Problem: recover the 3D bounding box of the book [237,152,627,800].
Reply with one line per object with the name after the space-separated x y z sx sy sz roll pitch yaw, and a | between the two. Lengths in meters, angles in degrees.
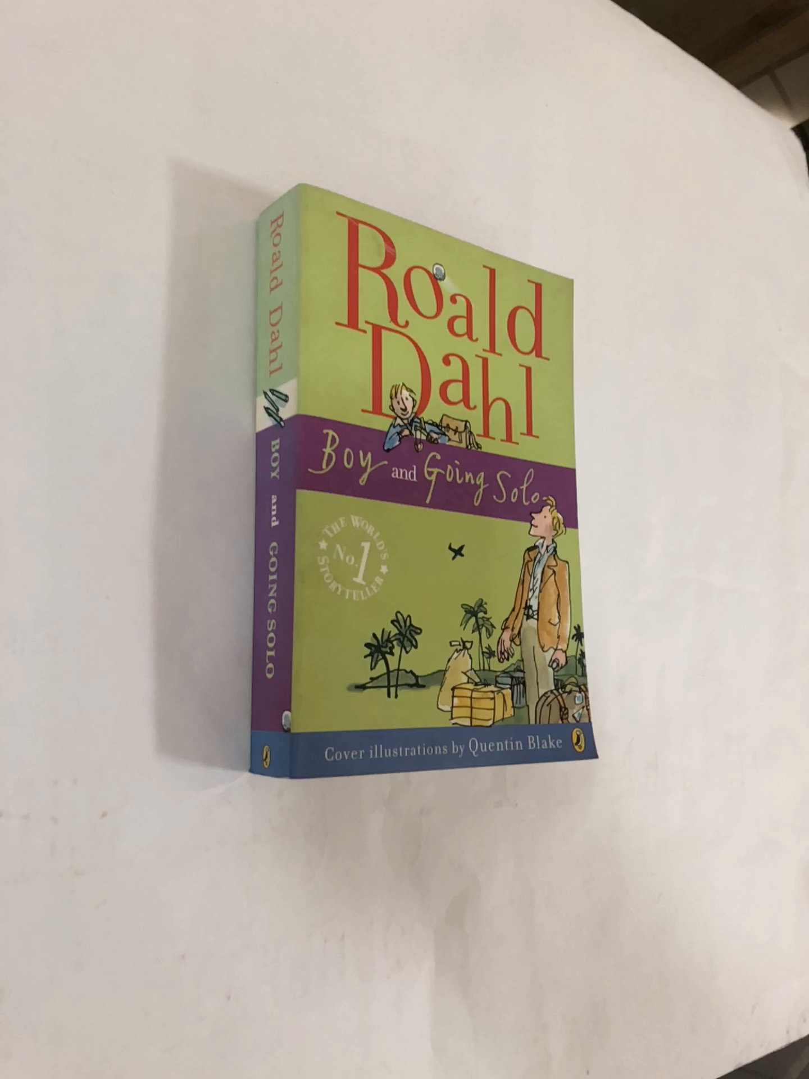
0.014 -0.016 0.318 0.141 0.036 0.193 6 78 -37 | book
